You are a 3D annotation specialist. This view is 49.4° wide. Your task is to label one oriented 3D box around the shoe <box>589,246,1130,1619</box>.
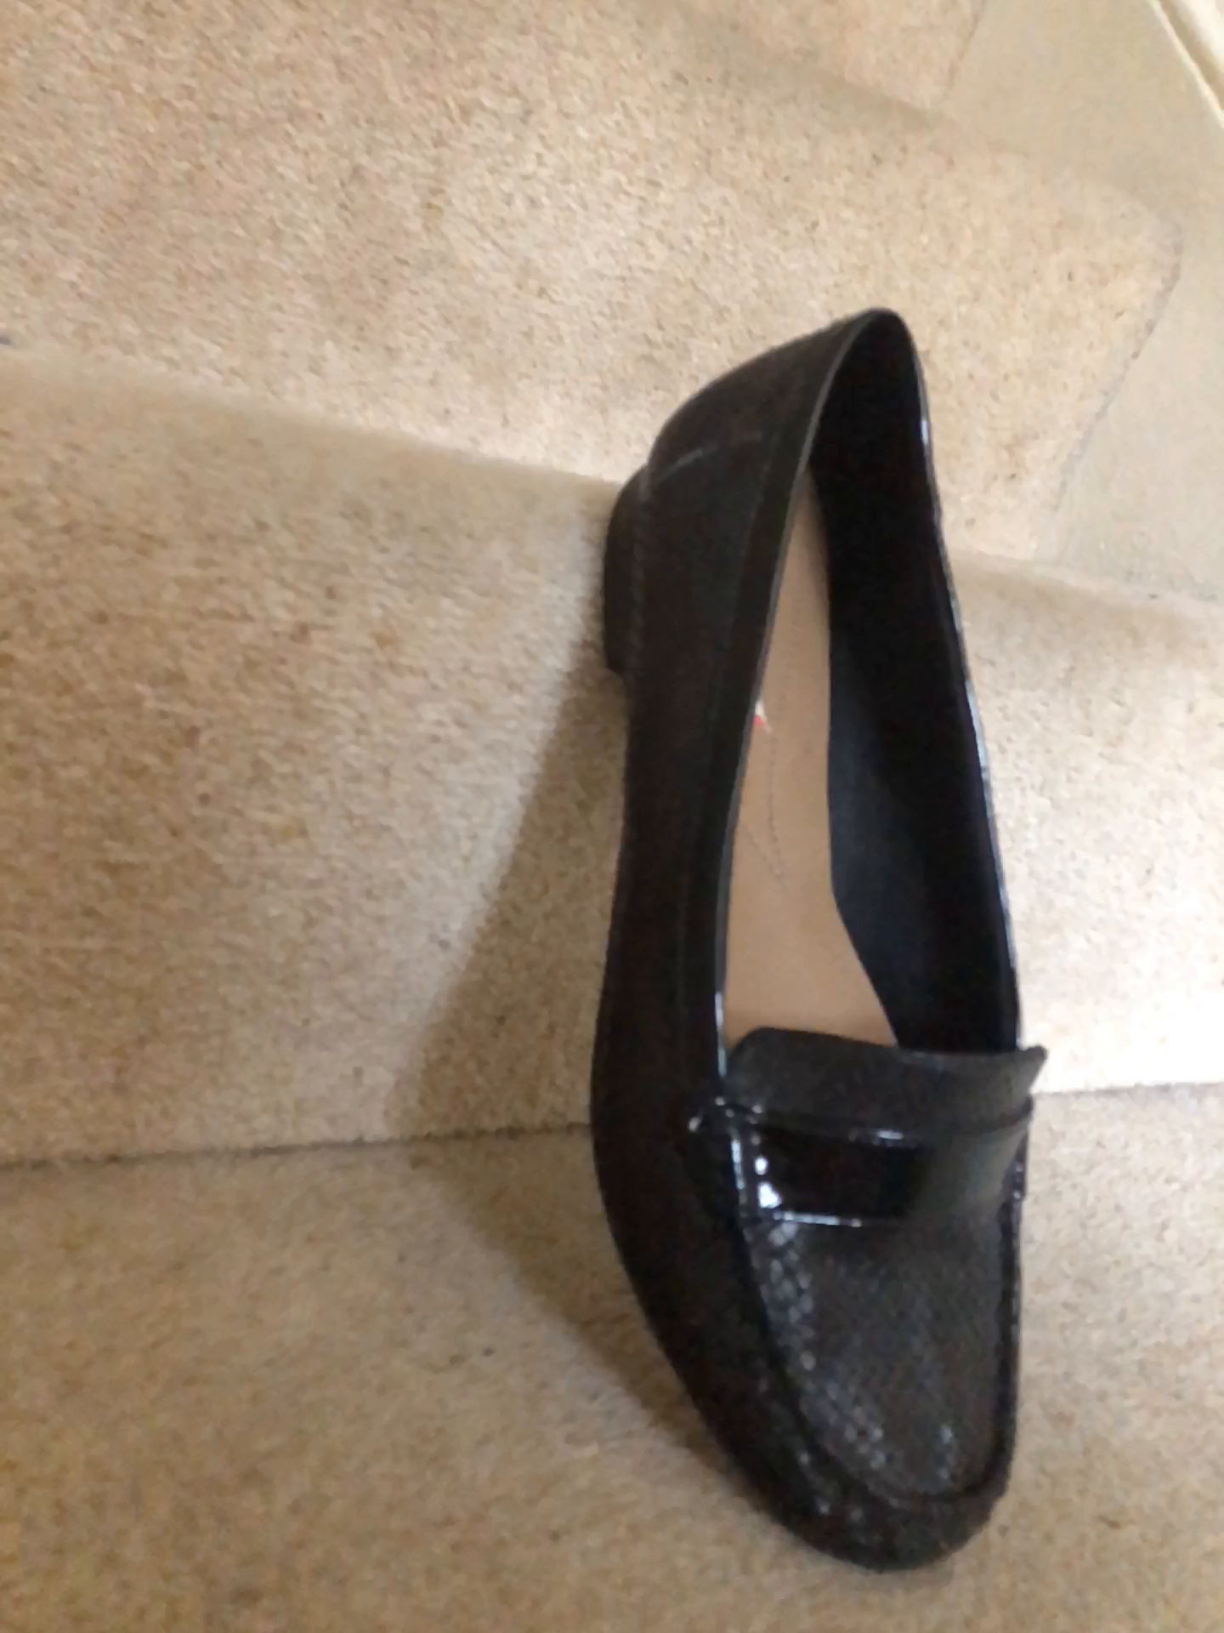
[{"bbox_3d":[0.052,0.019,0.307,0.090,0.261,0.070,7,-12,-36],"label":"shoe"}]
